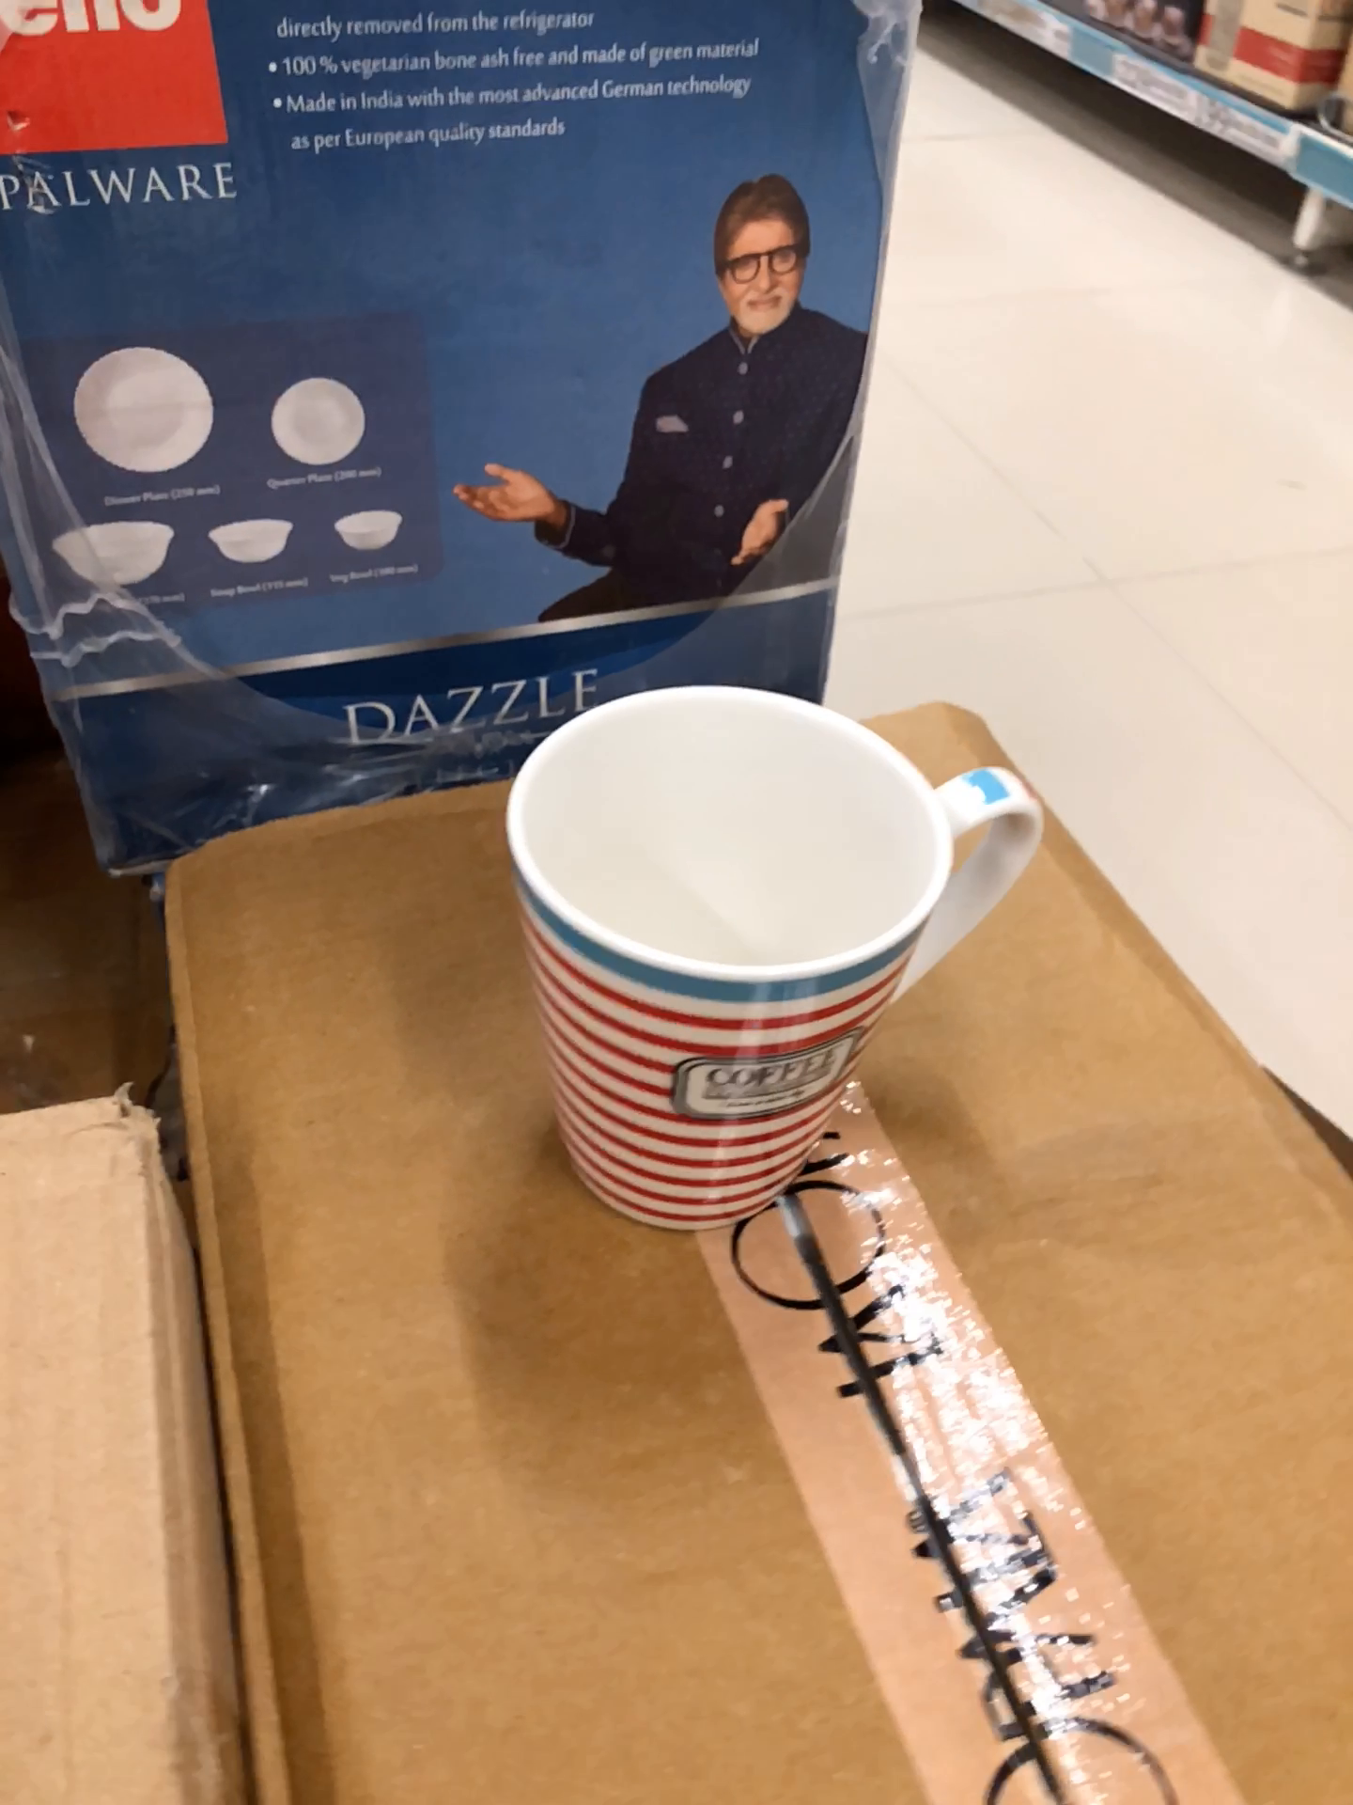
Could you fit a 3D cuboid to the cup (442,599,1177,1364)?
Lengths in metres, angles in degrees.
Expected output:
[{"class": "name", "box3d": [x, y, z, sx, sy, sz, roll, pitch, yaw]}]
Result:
[{"class": "cup", "box3d": [0.022, 0.012, 0.322, 0.110, 0.099, 0.090, -19, 45, -23]}]
